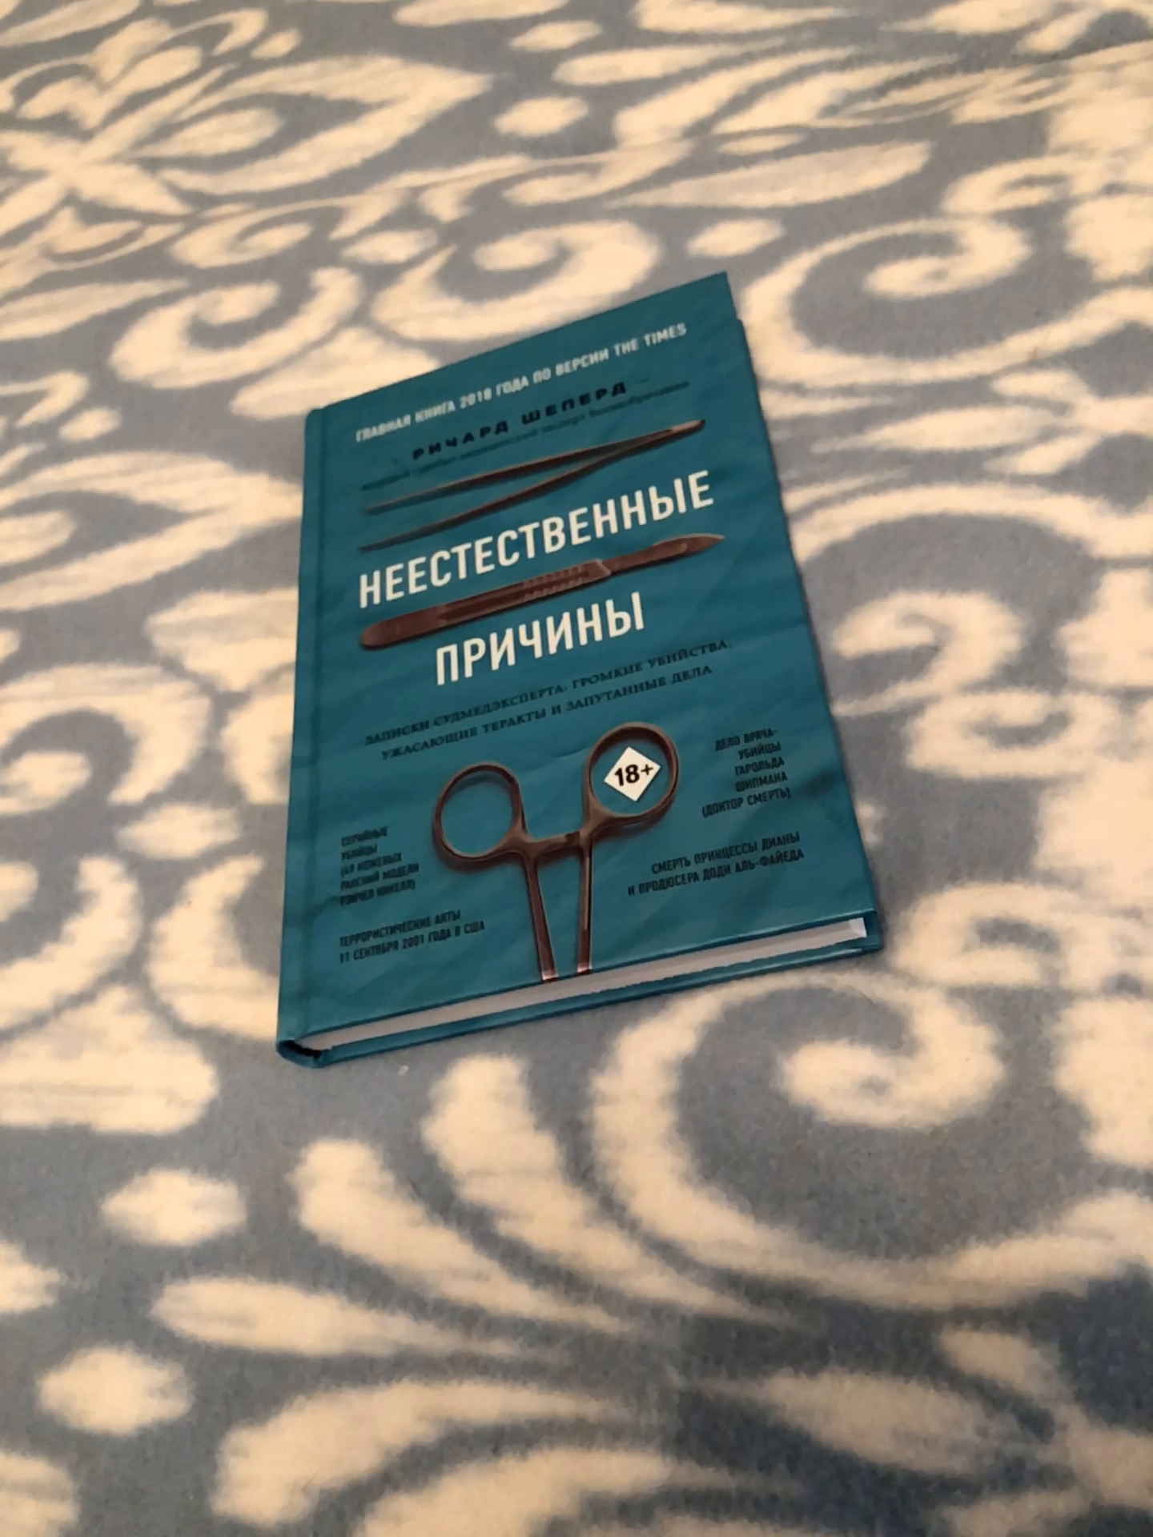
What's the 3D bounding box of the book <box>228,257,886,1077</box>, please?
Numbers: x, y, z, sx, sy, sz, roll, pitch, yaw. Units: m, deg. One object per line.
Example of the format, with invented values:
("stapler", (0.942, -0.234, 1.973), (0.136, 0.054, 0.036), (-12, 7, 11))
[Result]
("book", (-0.015, -0.038, 0.349), (0.149, 0.025, 0.218), (-14, 56, 12))
